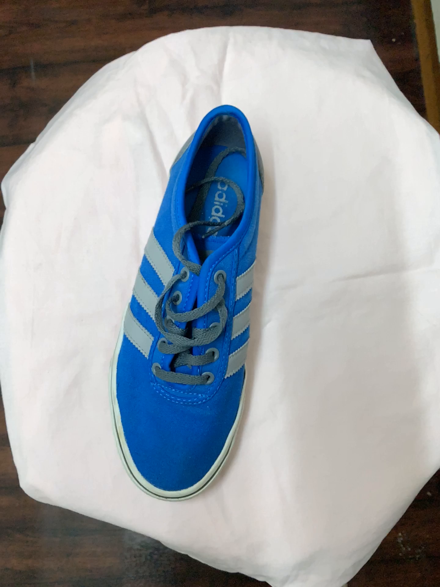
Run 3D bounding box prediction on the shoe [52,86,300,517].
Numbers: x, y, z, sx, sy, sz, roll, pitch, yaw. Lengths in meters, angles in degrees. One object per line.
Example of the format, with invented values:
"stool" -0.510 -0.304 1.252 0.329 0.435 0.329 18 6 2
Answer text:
"shoe" -0.021 0.002 0.305 0.100 0.090 0.234 10 84 3
